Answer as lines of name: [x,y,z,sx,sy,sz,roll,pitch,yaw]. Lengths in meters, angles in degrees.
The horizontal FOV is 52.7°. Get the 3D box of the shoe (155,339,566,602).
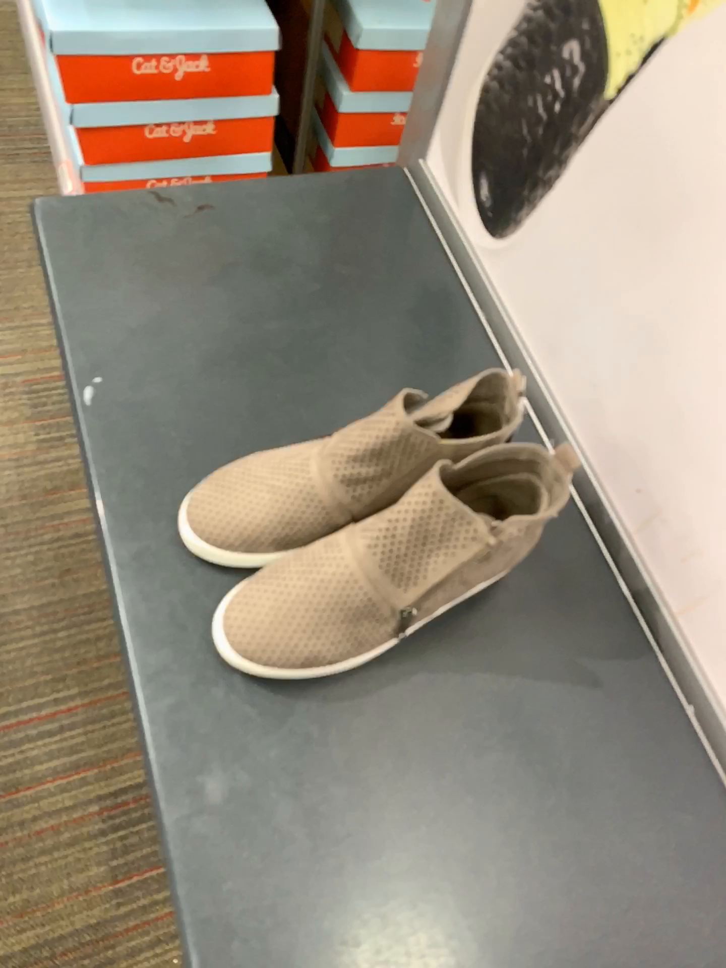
shoe: [-0.010,-0.010,0.528,0.250,0.140,0.100,-9,63,-17]

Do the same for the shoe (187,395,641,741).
shoe: [0.025,0.054,0.479,0.250,0.140,0.100,-19,67,-21]
